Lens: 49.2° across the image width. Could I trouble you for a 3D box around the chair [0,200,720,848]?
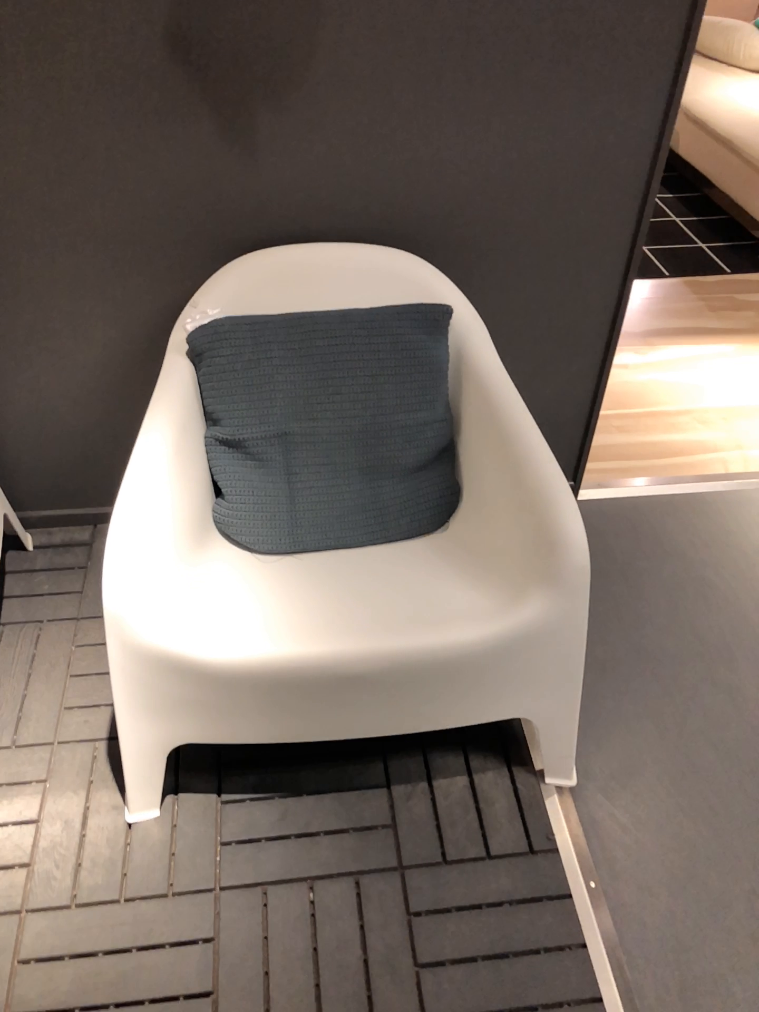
[{"bbox_3d":[-0.078,-0.006,1.477,0.830,0.765,0.785,-4,42,-8],"label":"chair"}]
